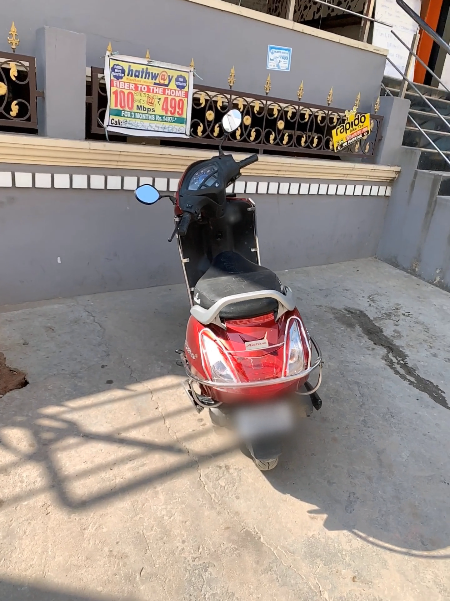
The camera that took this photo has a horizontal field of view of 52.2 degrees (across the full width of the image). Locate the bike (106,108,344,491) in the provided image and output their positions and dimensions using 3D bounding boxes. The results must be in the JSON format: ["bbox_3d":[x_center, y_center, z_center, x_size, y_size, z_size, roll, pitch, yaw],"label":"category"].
[{"bbox_3d":[-0.229,-0.223,2.314,0.622,1.164,1.763,1,24,-16],"label":"bike"}]
